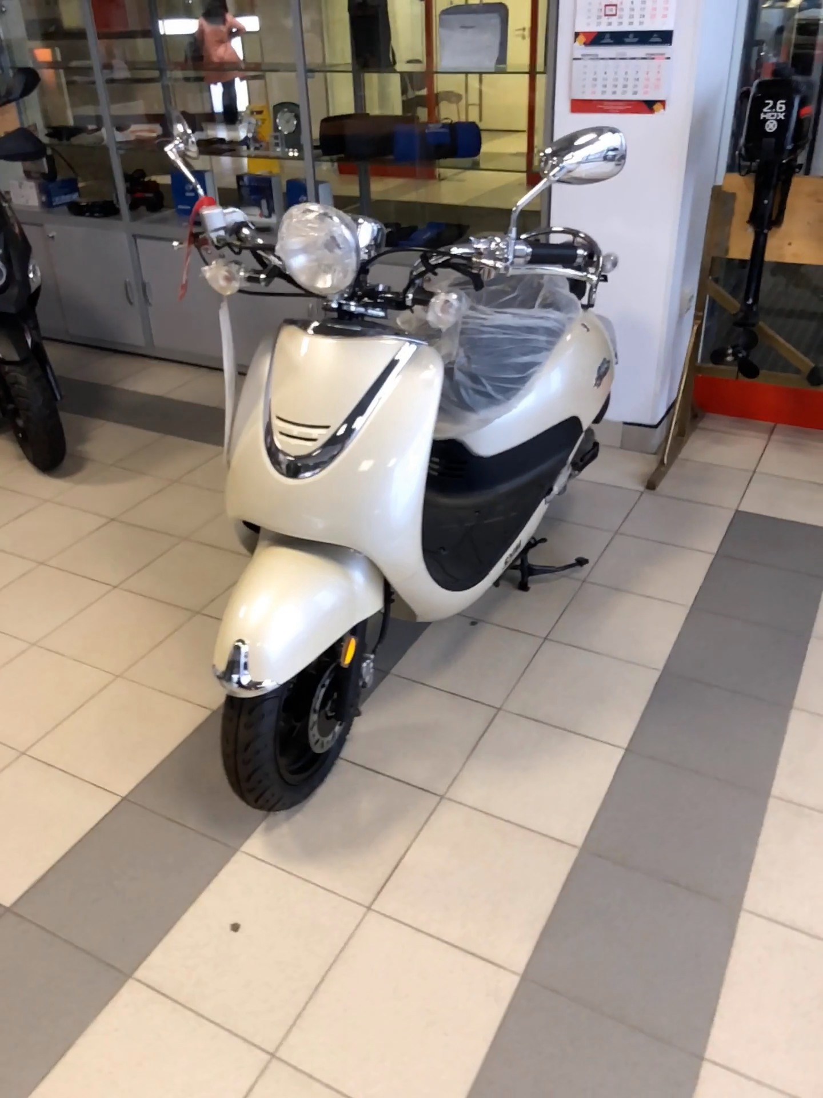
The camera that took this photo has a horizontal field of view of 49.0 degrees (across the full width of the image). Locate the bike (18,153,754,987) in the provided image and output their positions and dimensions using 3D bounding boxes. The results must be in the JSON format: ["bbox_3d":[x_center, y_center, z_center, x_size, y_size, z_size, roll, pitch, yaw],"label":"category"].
[{"bbox_3d":[0.130,-0.207,2.089,0.805,0.963,1.689,14,37,26],"label":"bike"}]
